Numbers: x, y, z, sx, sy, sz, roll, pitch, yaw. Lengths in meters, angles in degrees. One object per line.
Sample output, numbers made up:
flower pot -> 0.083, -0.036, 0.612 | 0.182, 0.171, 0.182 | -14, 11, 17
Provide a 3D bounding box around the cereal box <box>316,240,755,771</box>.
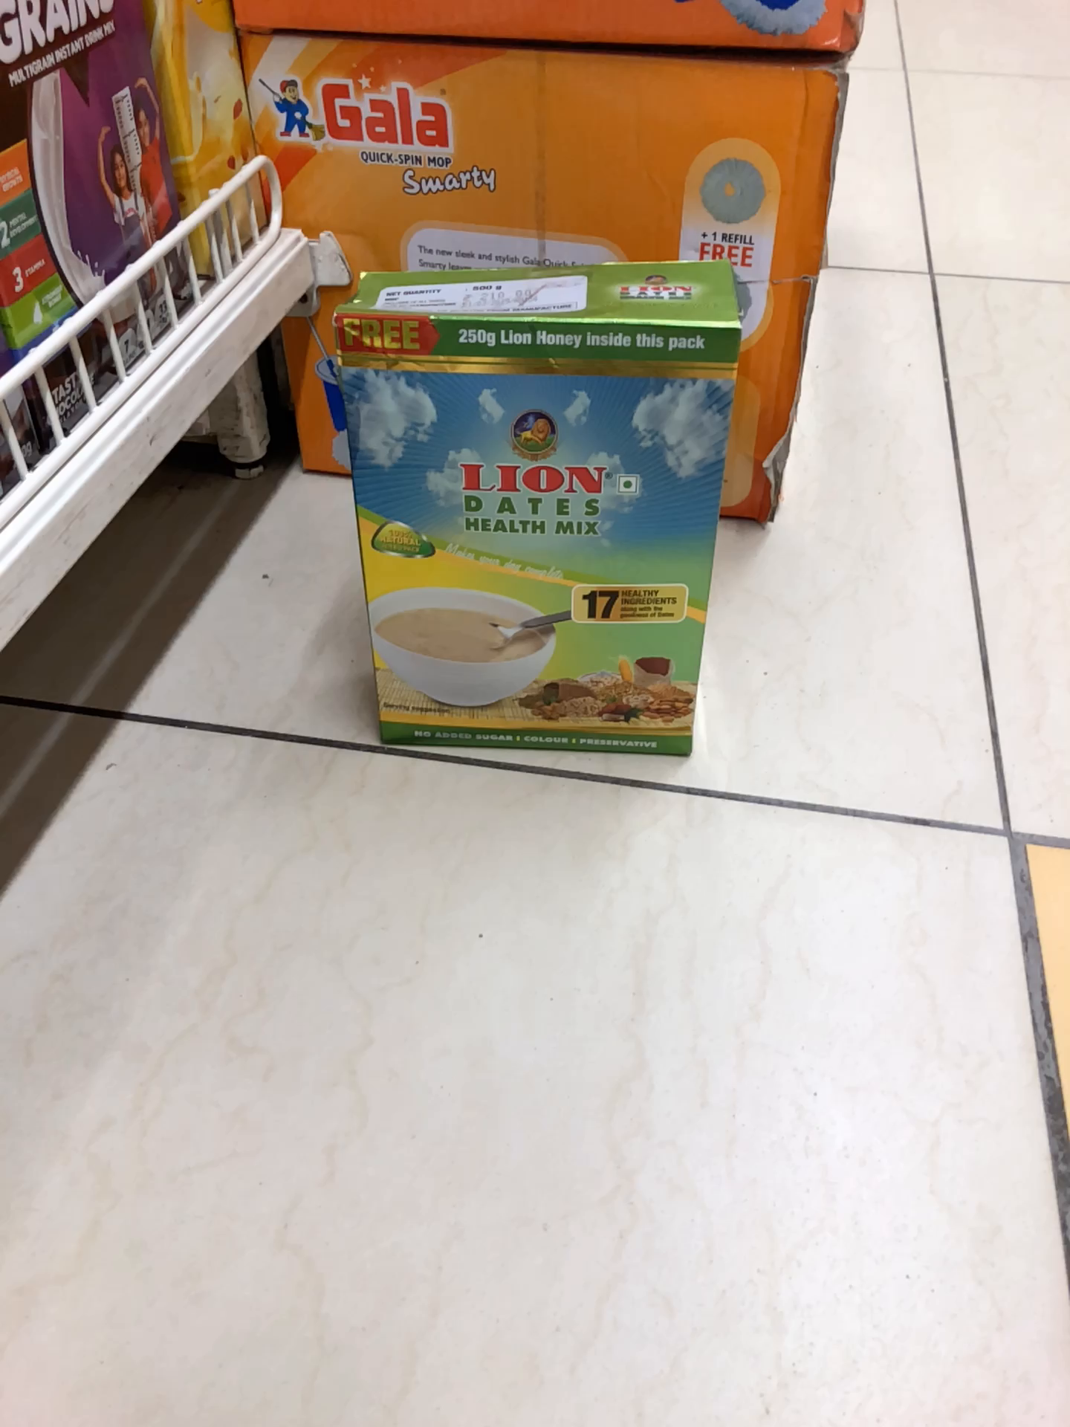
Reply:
cereal box -> 0.000, -0.083, 0.532 | 0.160, 0.228, 0.070 | 2, 42, 1
